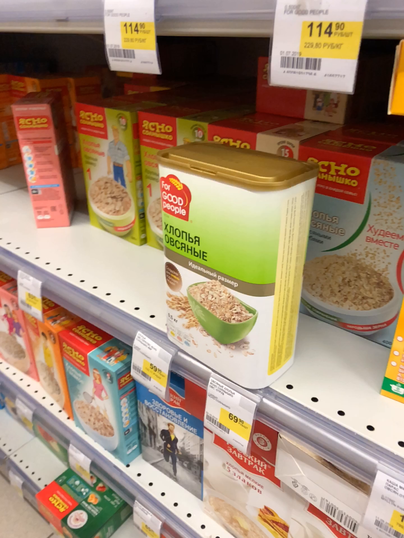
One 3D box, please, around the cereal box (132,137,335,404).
[{"bbox_3d":[0.022,-0.007,0.408,0.090,0.189,0.140,-25,37,-38],"label":"cereal box"}]
